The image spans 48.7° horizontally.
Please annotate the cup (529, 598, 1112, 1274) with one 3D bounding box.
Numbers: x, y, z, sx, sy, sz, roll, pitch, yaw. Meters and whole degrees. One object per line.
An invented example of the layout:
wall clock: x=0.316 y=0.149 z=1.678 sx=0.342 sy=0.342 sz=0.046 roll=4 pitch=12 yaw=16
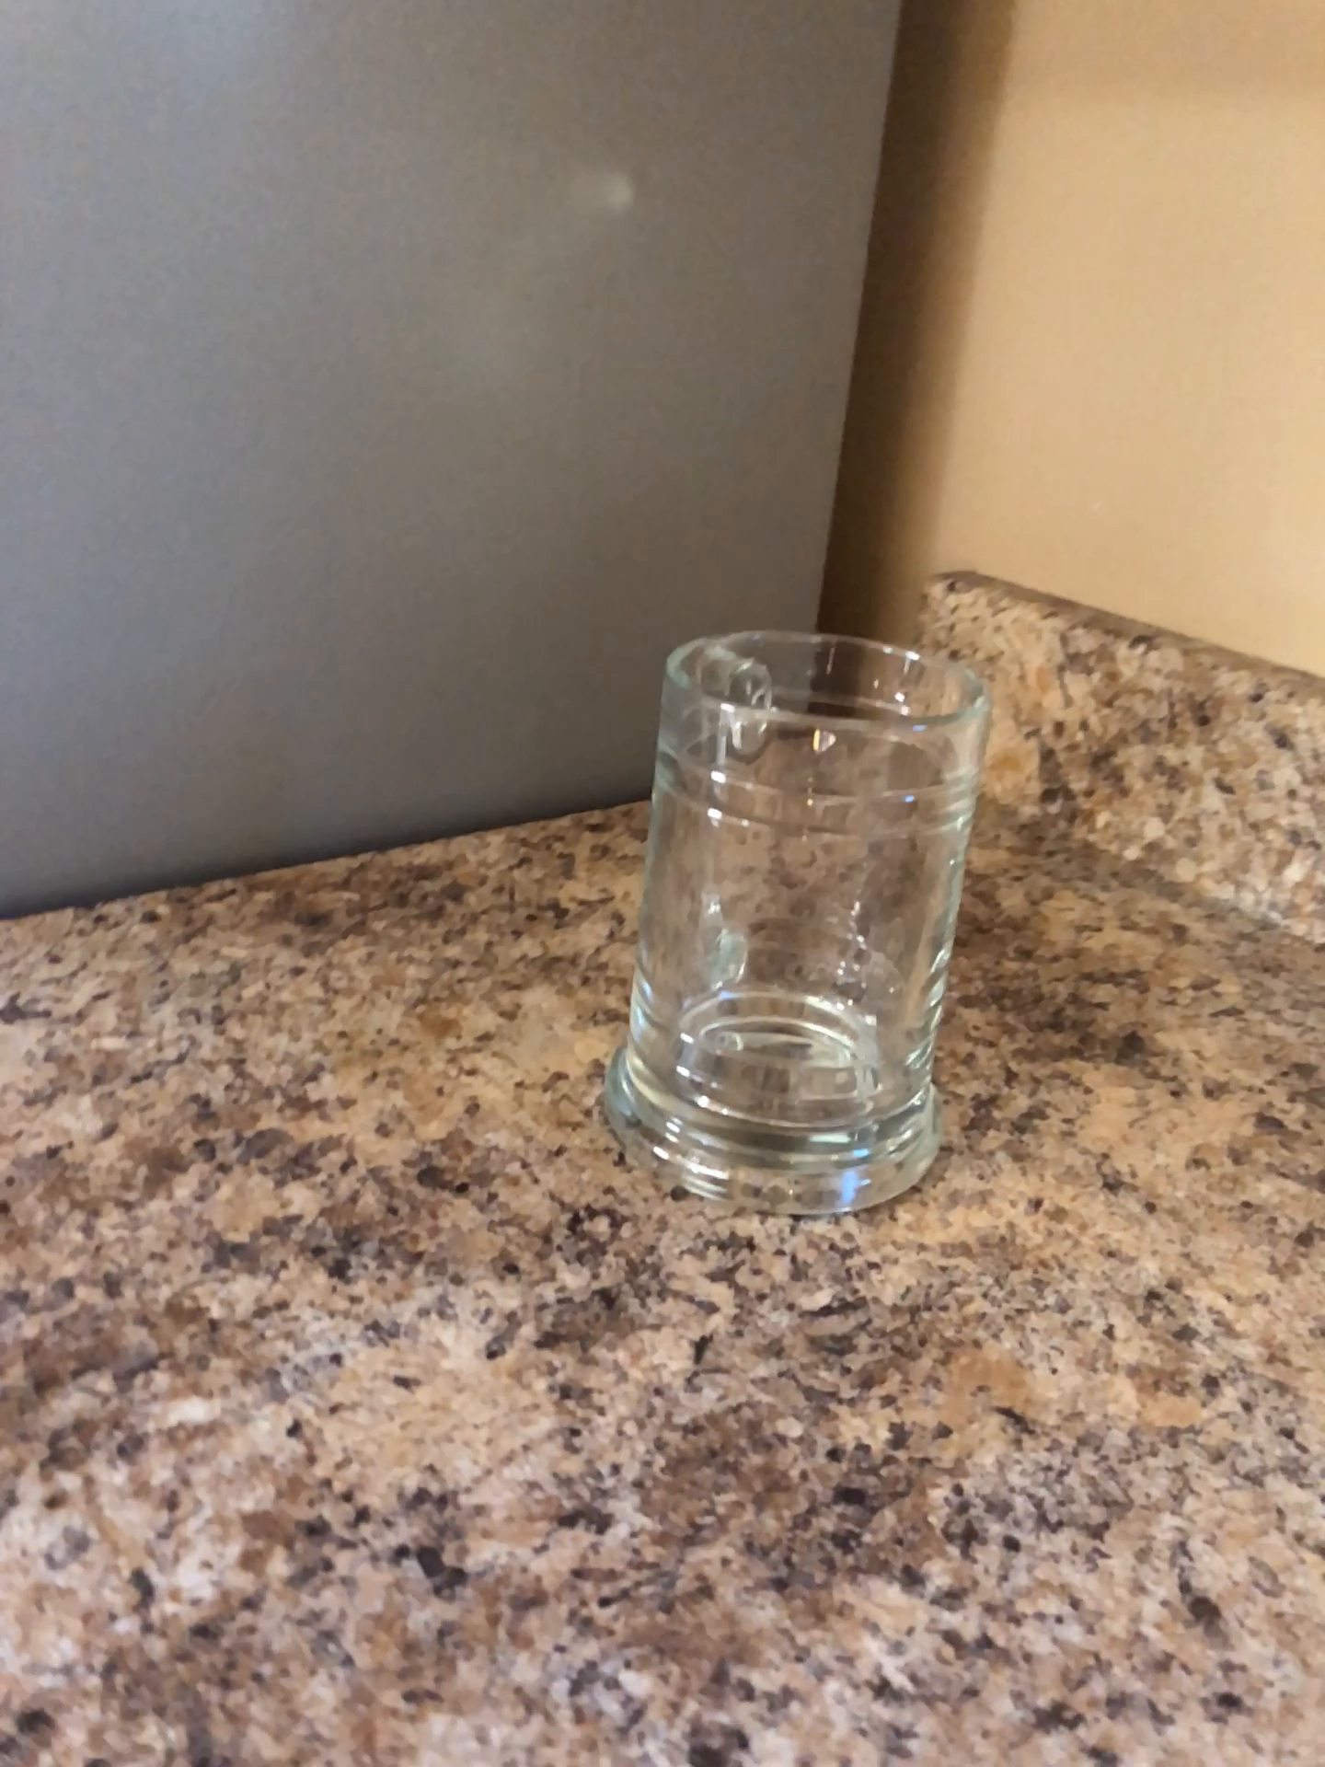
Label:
cup: x=0.032 y=0.004 z=0.414 sx=0.100 sy=0.139 sz=0.131 roll=-4 pitch=25 yaw=-21
